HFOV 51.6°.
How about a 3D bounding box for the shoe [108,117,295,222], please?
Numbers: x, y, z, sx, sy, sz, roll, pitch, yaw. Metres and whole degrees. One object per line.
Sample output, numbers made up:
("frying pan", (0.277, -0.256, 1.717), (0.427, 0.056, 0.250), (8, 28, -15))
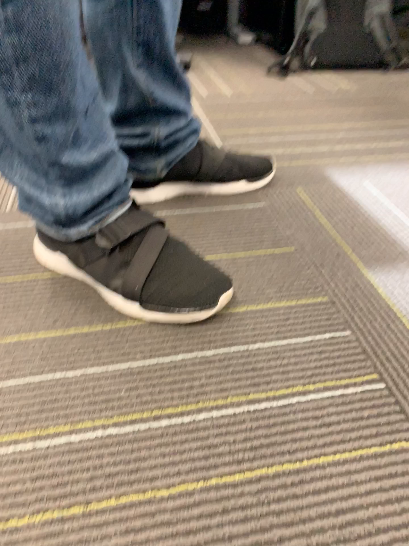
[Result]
("shoe", (-0.009, -0.190, 0.758), (0.300, 0.119, 0.121), (-8, 38, -12))

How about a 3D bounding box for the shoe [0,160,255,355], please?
("shoe", (-0.104, -0.036, 0.527), (0.301, 0.109, 0.120), (22, 42, 25))
